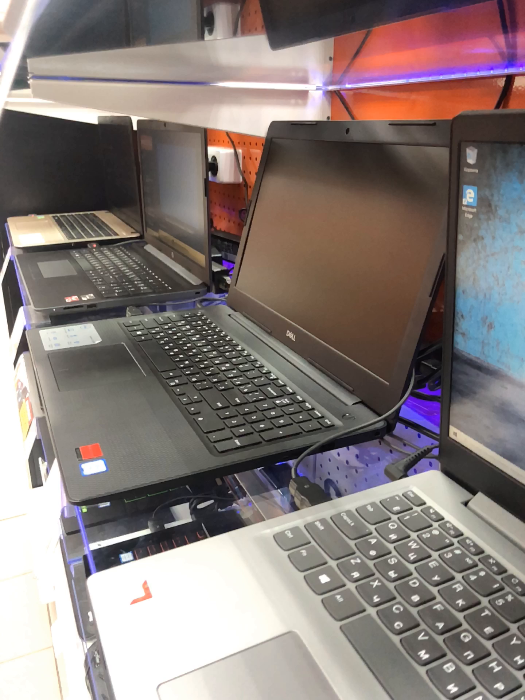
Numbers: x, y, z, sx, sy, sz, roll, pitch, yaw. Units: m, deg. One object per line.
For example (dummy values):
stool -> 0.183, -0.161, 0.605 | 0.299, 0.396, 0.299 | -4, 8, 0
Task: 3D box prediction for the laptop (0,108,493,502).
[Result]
laptop -> -0.059, -0.096, 0.551 | 0.316, 0.233, 0.375 | -9, 23, -24
